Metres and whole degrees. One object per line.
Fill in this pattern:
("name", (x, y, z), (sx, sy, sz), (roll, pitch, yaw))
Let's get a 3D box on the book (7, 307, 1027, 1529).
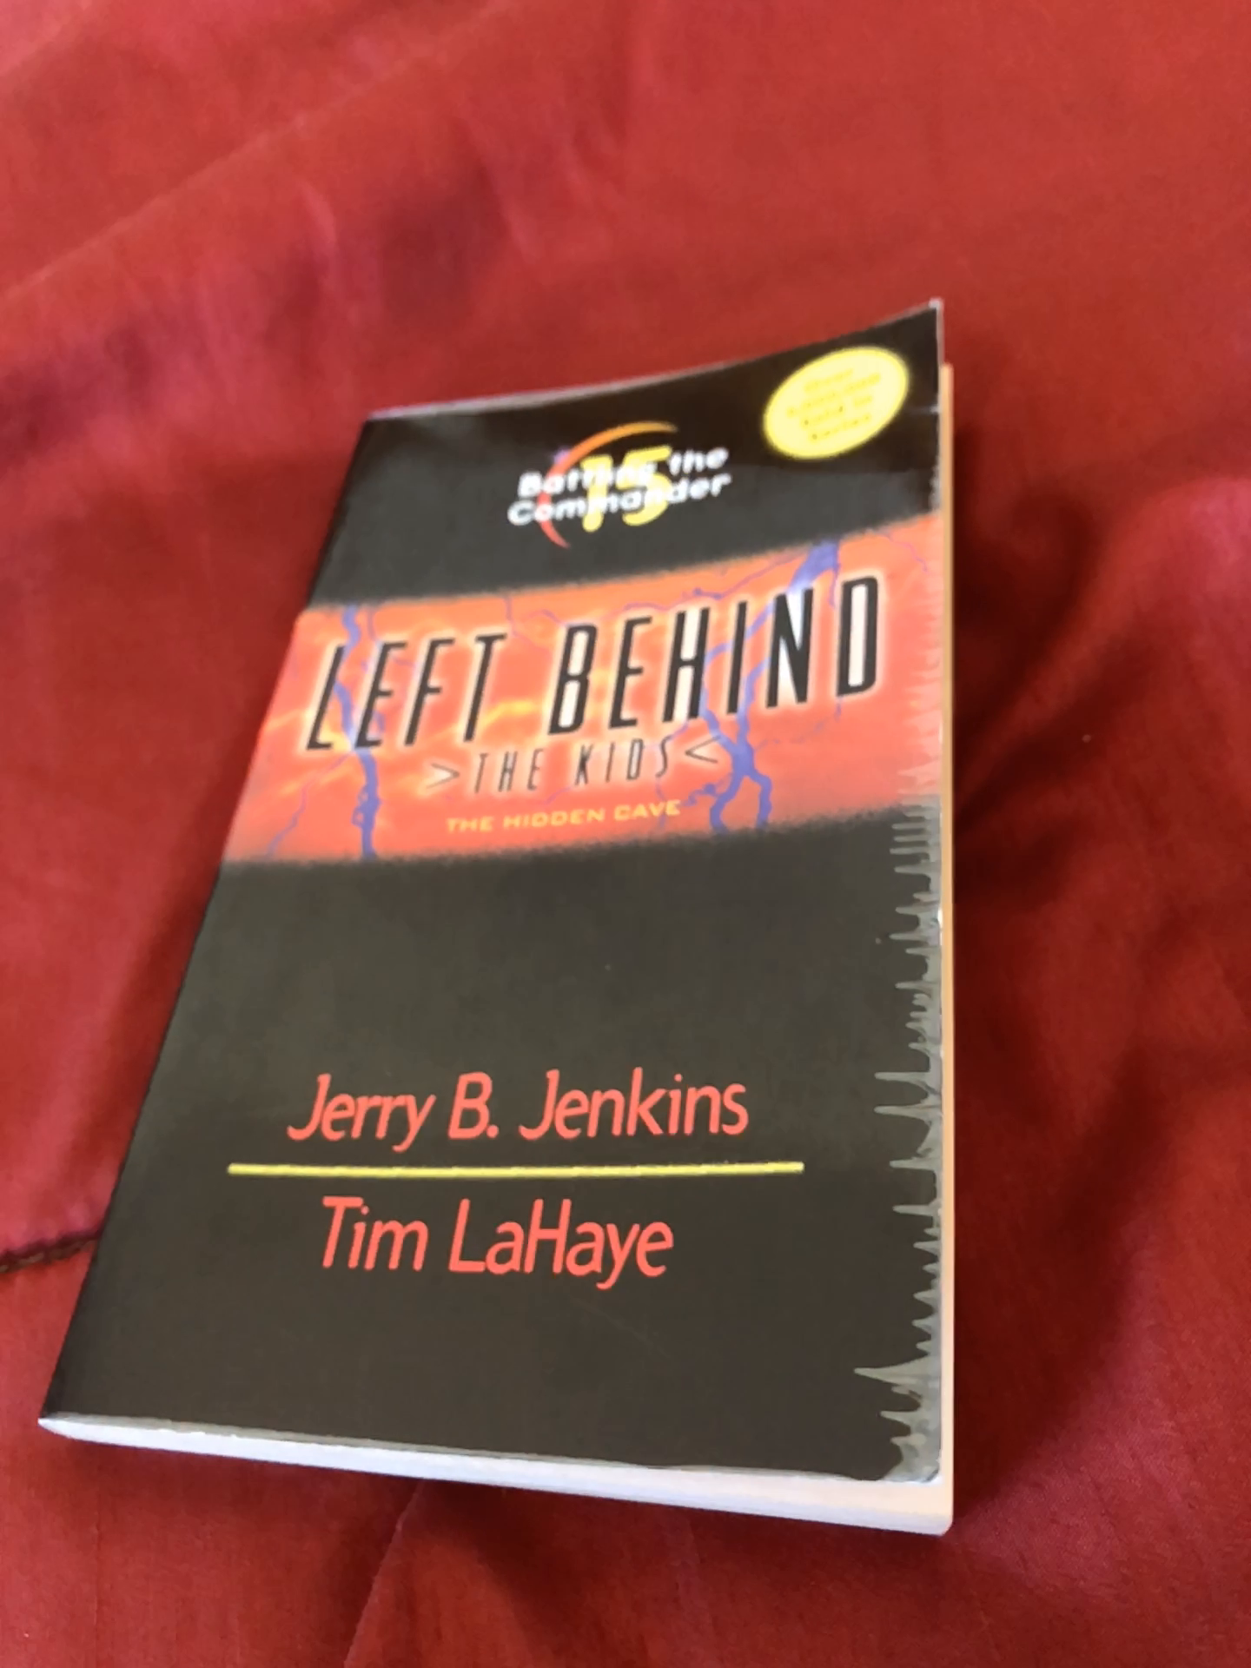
("book", (-0.003, -0.003, 0.201), (0.111, 0.026, 0.171), (-2, 56, 16))
